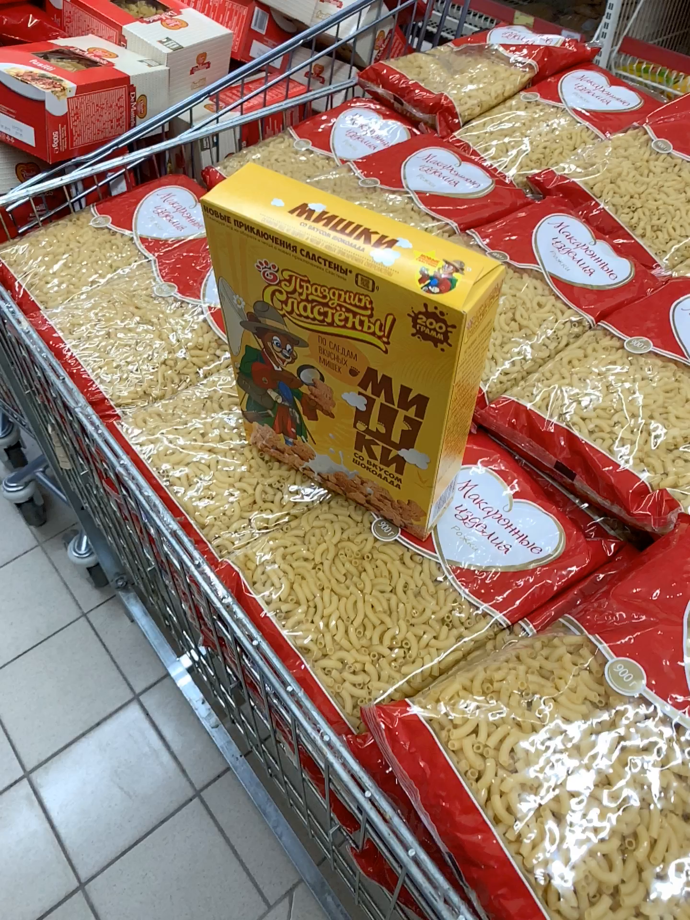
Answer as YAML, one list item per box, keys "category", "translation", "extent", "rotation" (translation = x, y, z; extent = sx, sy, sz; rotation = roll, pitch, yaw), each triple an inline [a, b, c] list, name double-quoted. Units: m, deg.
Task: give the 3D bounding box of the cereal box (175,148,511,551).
- category: "cereal box"
  translation: [-0.002, -0.056, 0.442]
  extent: [0.170, 0.218, 0.050]
  rotation: [29, 61, 21]
